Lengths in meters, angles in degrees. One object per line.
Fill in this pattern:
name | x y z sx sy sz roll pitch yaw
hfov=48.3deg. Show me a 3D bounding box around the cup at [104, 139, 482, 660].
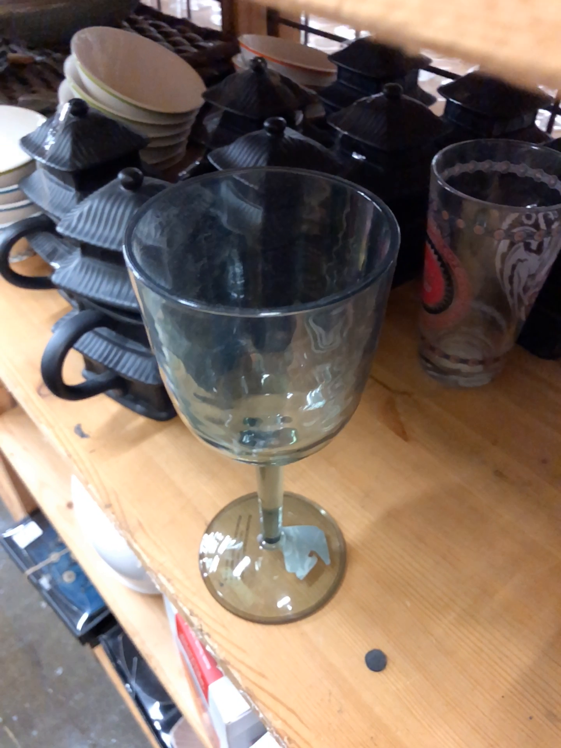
cup | 0.001 0.022 0.279 0.094 0.204 0.092 0 43 0
